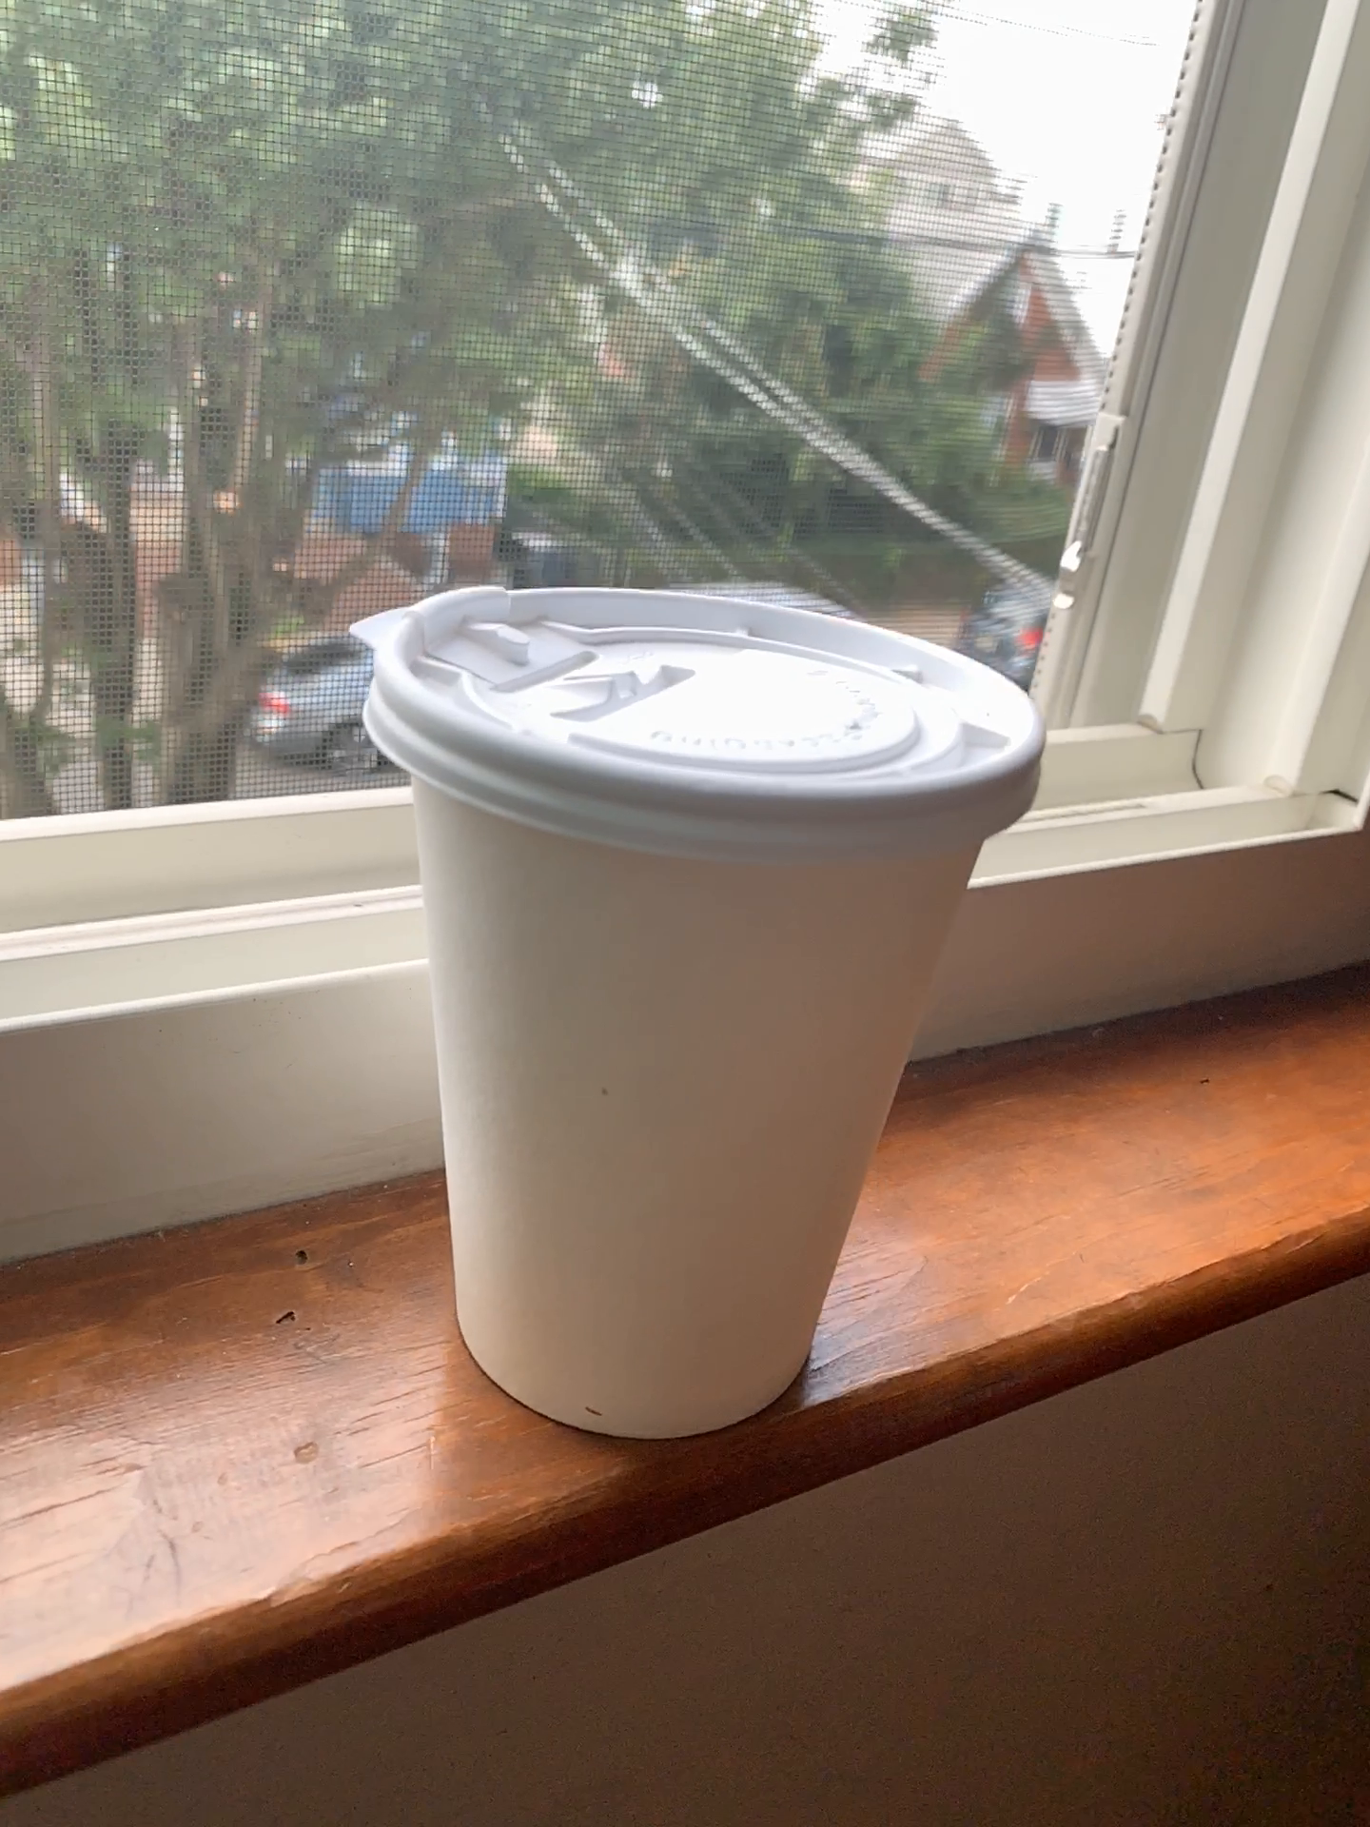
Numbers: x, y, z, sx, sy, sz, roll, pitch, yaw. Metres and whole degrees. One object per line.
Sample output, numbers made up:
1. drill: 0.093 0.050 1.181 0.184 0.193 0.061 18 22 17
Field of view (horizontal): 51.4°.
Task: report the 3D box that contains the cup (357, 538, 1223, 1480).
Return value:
1. cup: 0.002 0.009 0.208 0.090 0.099 0.091 6 25 -3
